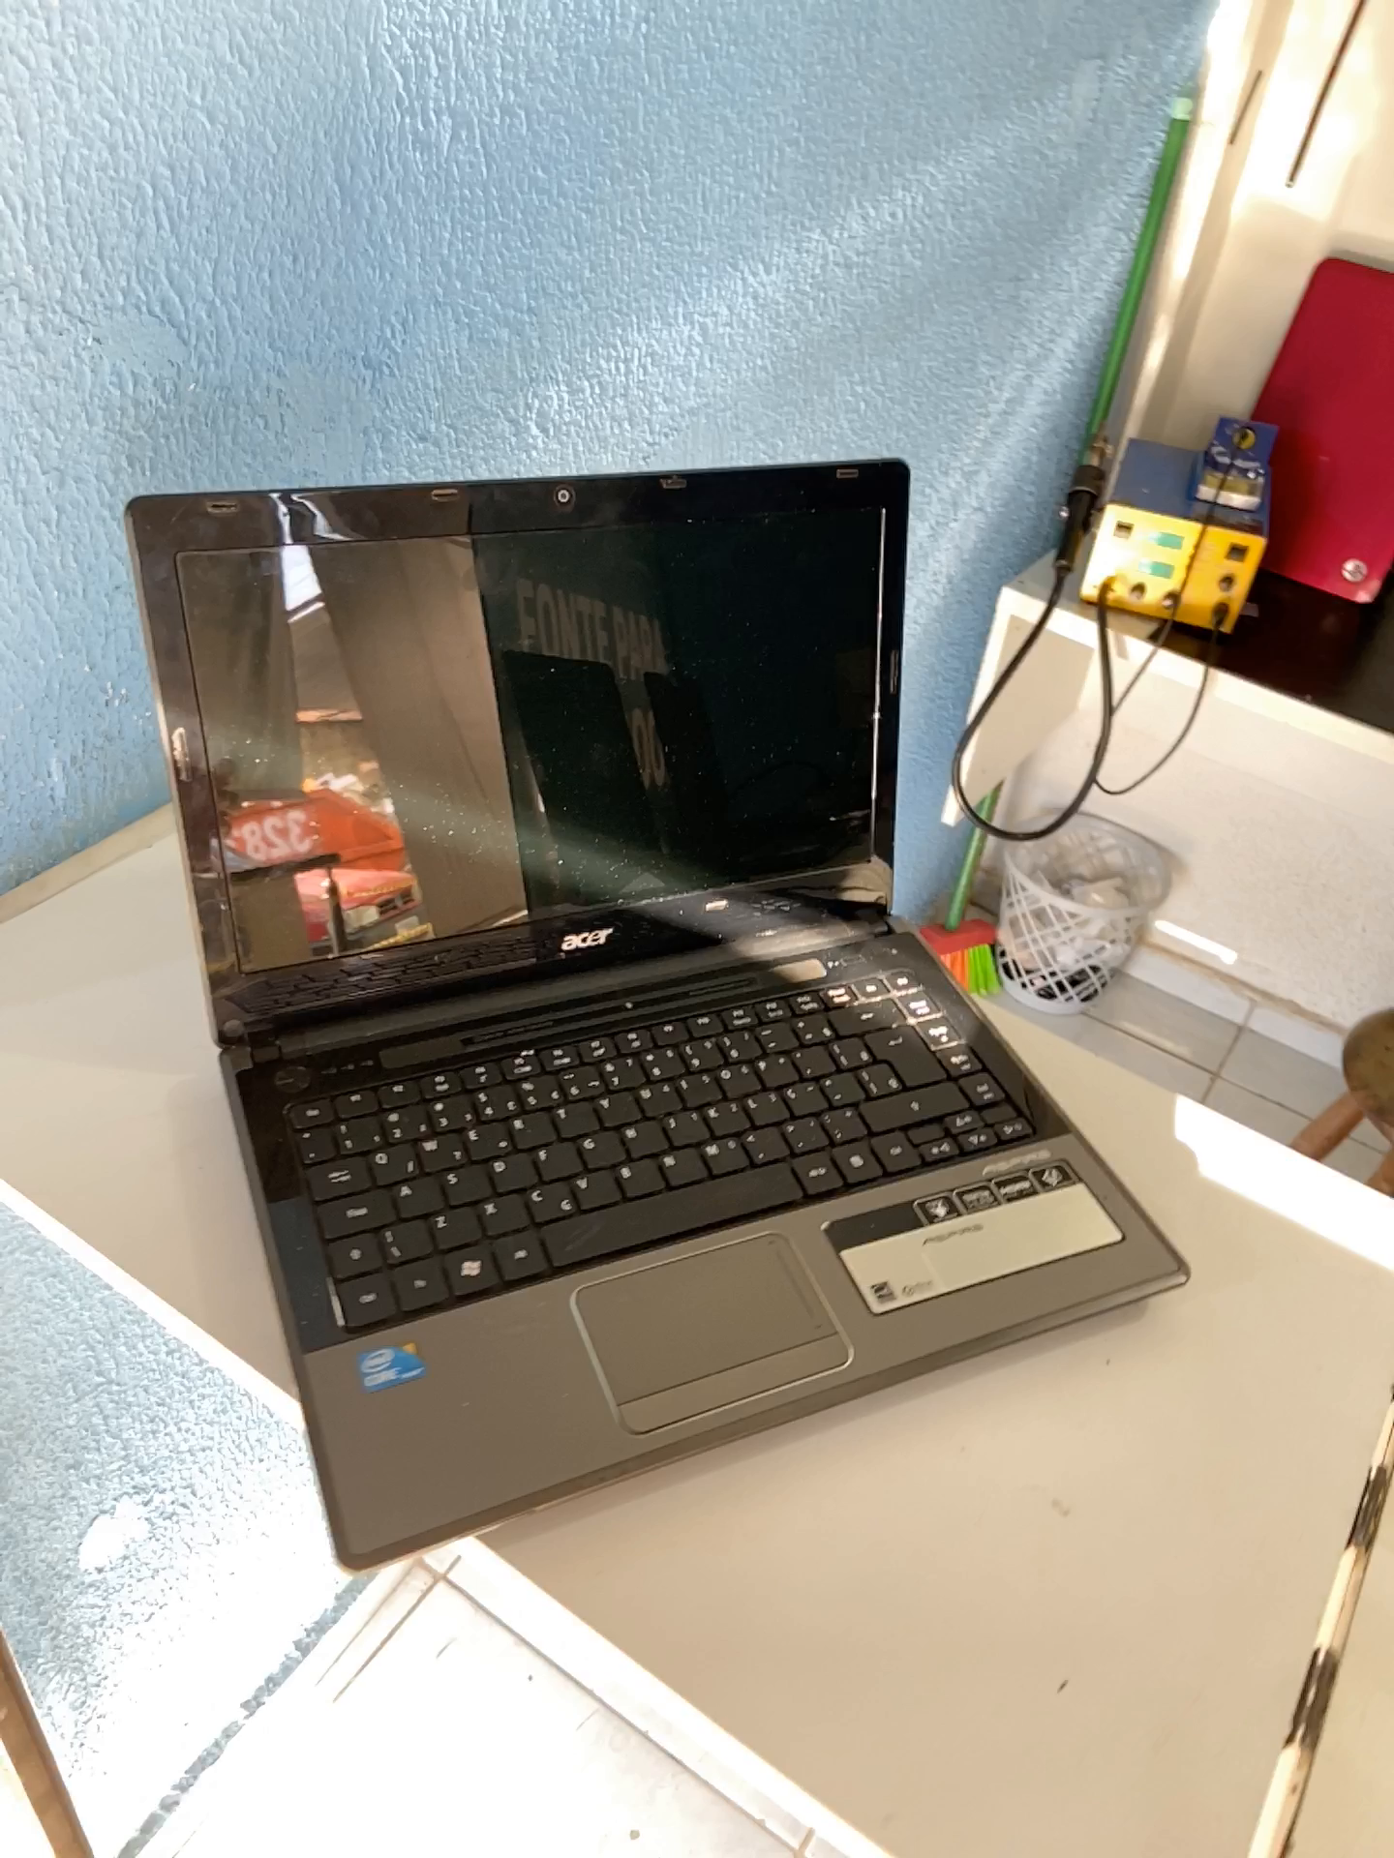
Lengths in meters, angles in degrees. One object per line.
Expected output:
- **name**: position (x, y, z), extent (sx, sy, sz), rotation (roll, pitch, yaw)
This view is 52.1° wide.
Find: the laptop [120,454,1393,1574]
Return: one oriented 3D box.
- **laptop**: position (-0.010, -0.010, 0.552), extent (0.337, 0.207, 0.319), rotation (-11, 43, -22)
